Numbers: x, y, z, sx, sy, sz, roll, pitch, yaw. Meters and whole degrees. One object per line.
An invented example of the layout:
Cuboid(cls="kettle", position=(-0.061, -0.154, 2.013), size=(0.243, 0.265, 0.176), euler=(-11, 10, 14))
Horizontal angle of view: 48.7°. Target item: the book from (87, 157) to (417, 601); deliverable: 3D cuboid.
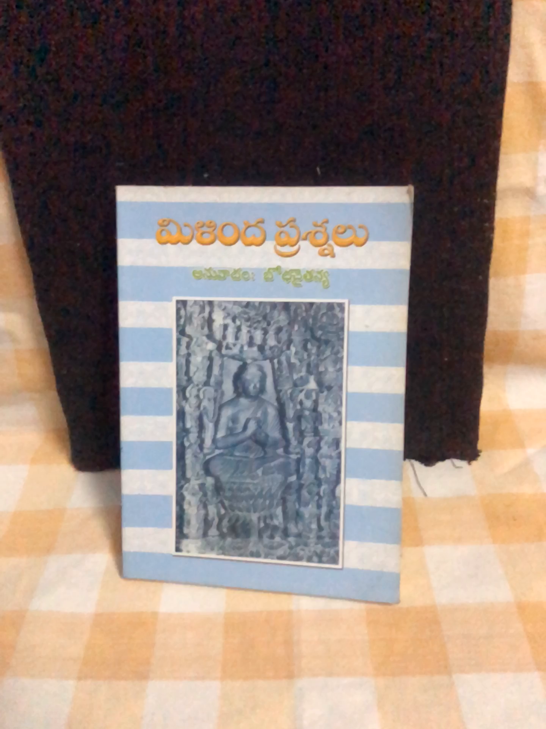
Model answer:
Cuboid(cls="book", position=(-0.013, 0.006, 0.311), size=(0.160, 0.210, 0.030), euler=(2, 6, 10))
